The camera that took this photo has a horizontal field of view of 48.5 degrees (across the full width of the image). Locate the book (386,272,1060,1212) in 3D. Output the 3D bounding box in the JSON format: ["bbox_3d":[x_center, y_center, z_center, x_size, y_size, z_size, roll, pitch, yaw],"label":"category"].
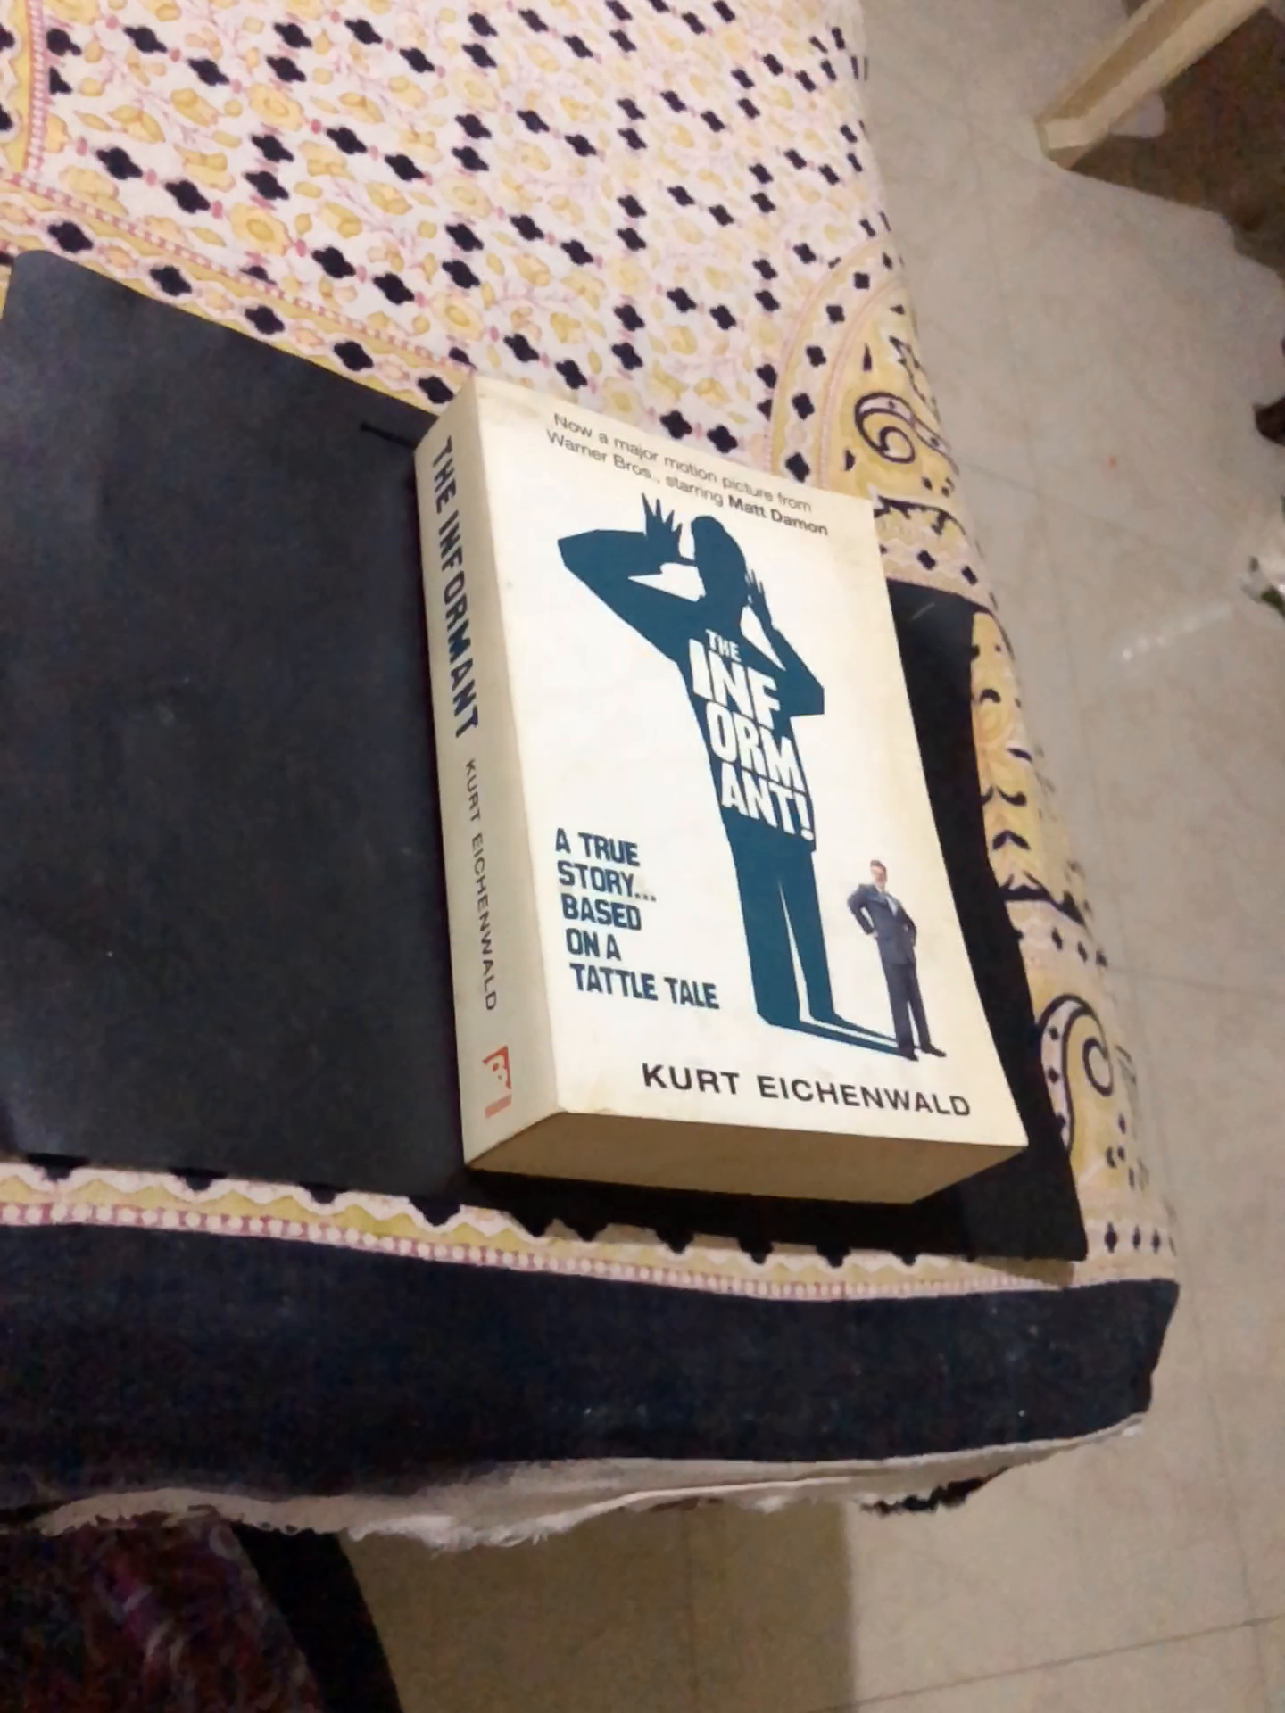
[{"bbox_3d":[0.013,-0.030,0.374,0.141,0.050,0.230,11,56,-31],"label":"book"}]
